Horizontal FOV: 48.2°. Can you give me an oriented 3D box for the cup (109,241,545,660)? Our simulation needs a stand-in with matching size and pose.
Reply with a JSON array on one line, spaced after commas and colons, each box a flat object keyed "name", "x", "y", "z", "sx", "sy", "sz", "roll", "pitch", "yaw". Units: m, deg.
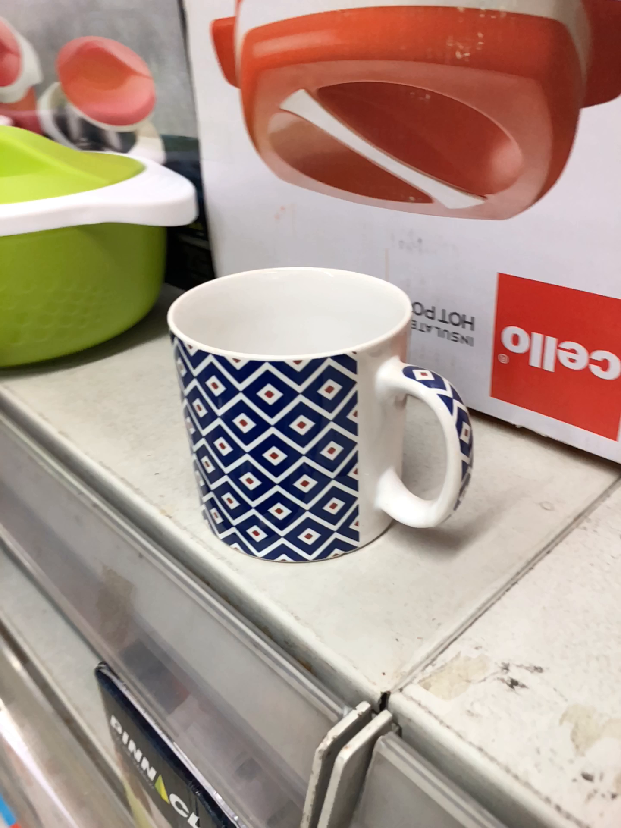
[{"name": "cup", "x": 0.003, "y": 0.000, "z": 0.233, "sx": 0.080, "sy": 0.079, "sz": 0.110, "roll": -27, "pitch": 37, "yaw": -35}]
